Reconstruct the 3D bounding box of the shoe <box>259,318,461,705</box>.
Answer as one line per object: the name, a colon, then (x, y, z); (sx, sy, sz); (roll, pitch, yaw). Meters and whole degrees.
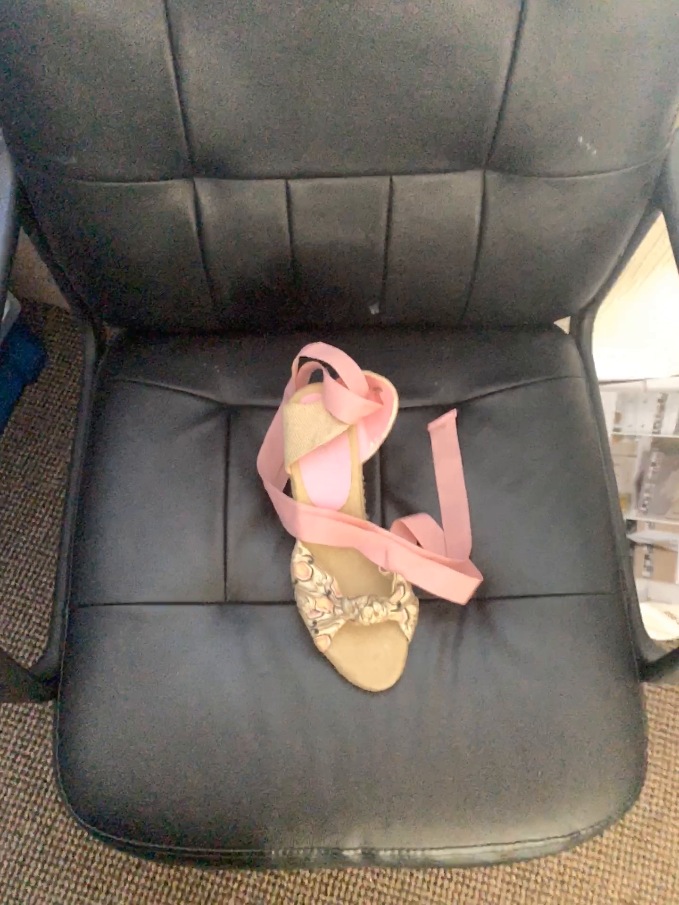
shoe: (0.006, 0.051, 0.559); (0.100, 0.139, 0.271); (-8, 69, -5)
